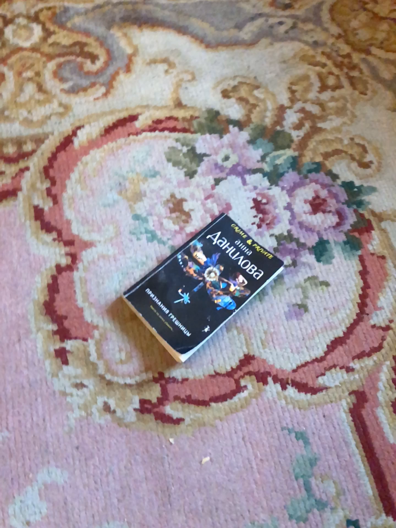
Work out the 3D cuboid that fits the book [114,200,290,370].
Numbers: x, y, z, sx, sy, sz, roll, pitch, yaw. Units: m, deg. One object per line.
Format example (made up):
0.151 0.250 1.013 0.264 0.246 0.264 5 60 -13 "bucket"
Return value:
0.005 0.021 0.503 0.165 0.050 0.110 -39 77 -20 "book"
